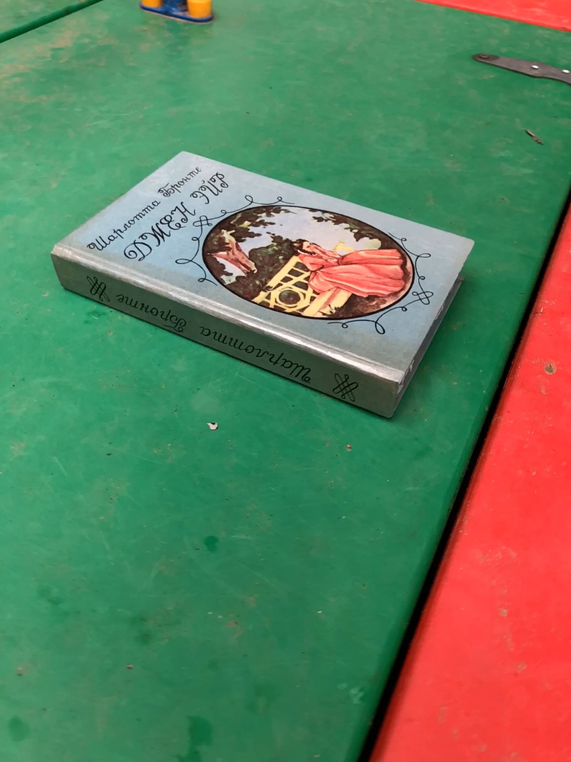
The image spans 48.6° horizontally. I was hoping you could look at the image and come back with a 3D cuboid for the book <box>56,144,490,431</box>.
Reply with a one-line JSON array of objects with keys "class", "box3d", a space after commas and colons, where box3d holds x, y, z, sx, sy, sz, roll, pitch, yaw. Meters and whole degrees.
[{"class": "book", "box3d": [-0.002, -0.065, 0.354, 0.196, 0.030, 0.135, 22, 49, 15]}]
